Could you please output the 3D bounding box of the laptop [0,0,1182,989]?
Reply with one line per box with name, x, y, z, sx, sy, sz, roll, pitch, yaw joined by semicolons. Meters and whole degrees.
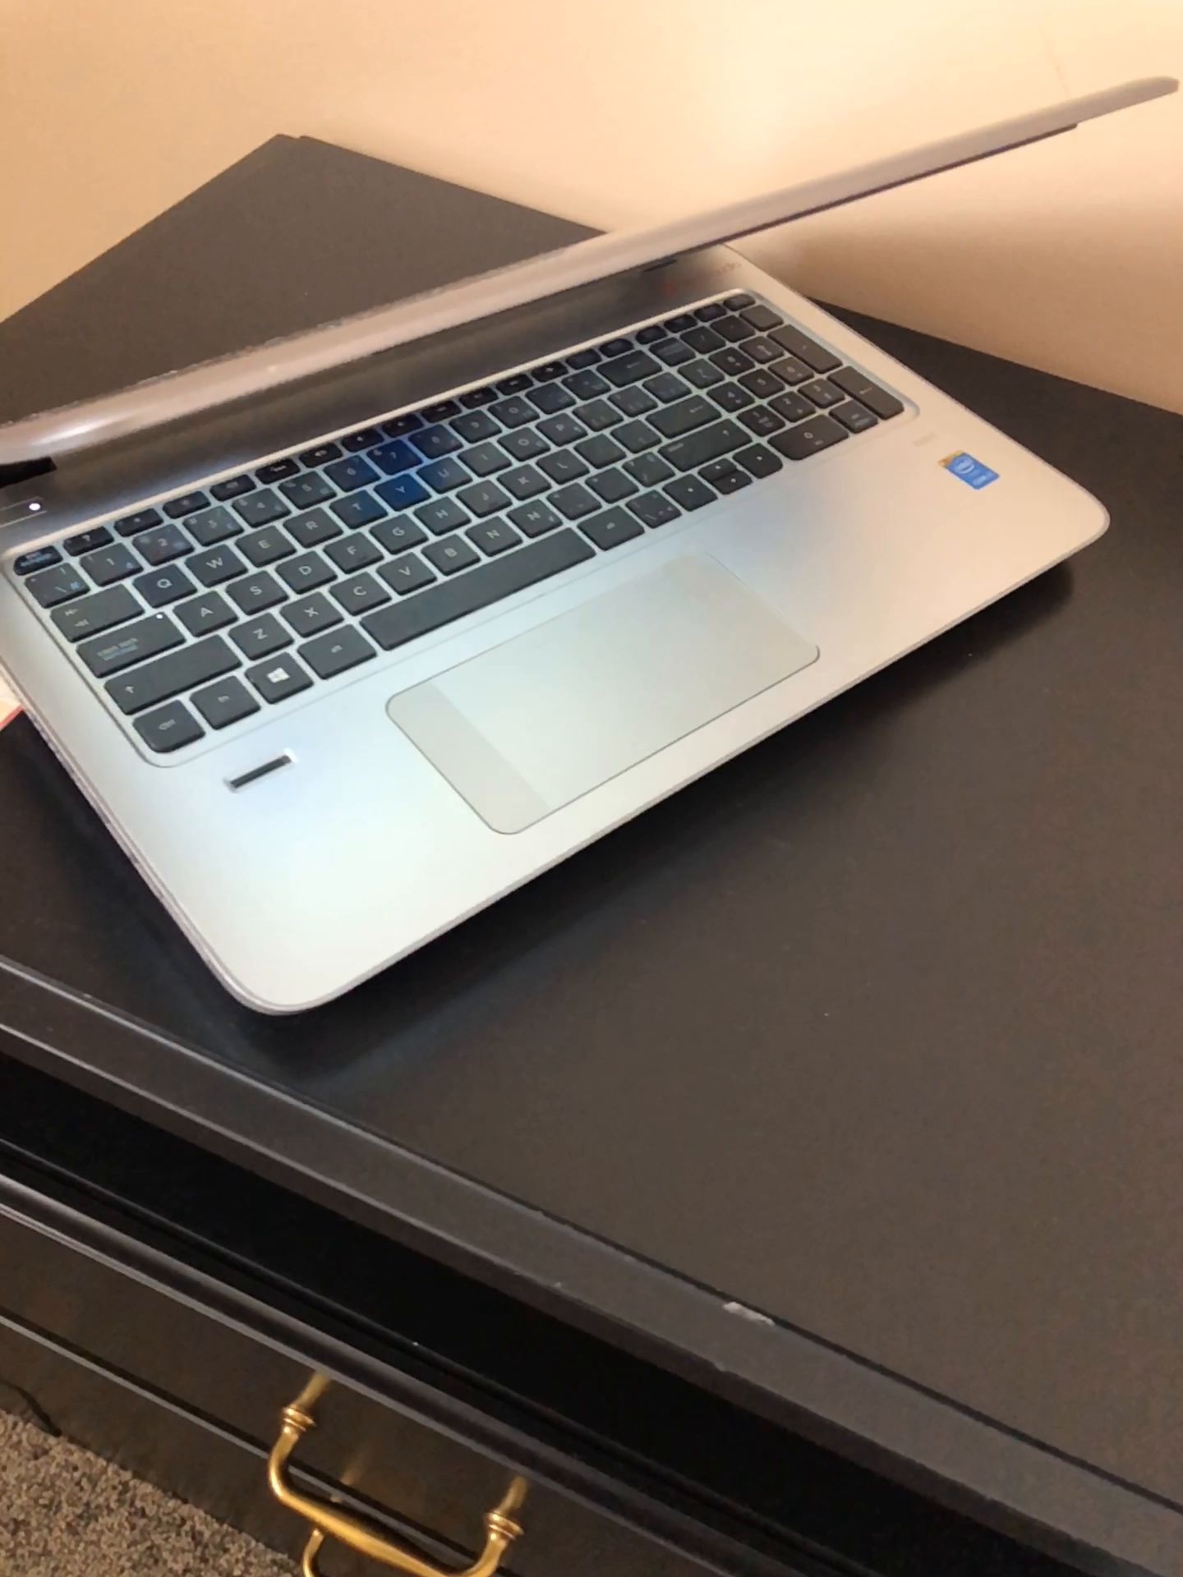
laptop;-0.005;-0.144;0.408;0.356;0.153;0.228;-30;60;-28
